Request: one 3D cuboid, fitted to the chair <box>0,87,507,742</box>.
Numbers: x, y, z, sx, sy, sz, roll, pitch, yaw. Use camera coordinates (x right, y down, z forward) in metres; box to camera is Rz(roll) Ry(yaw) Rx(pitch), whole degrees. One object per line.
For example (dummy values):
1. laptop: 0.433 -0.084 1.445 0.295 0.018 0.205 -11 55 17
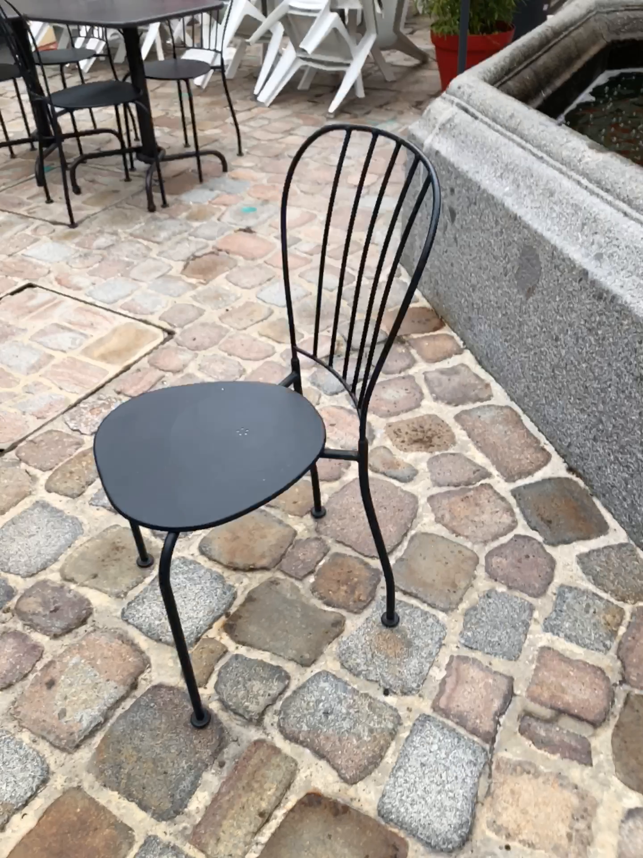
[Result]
1. chair: -0.099 -0.011 1.062 0.471 0.795 0.421 -17 42 -19
